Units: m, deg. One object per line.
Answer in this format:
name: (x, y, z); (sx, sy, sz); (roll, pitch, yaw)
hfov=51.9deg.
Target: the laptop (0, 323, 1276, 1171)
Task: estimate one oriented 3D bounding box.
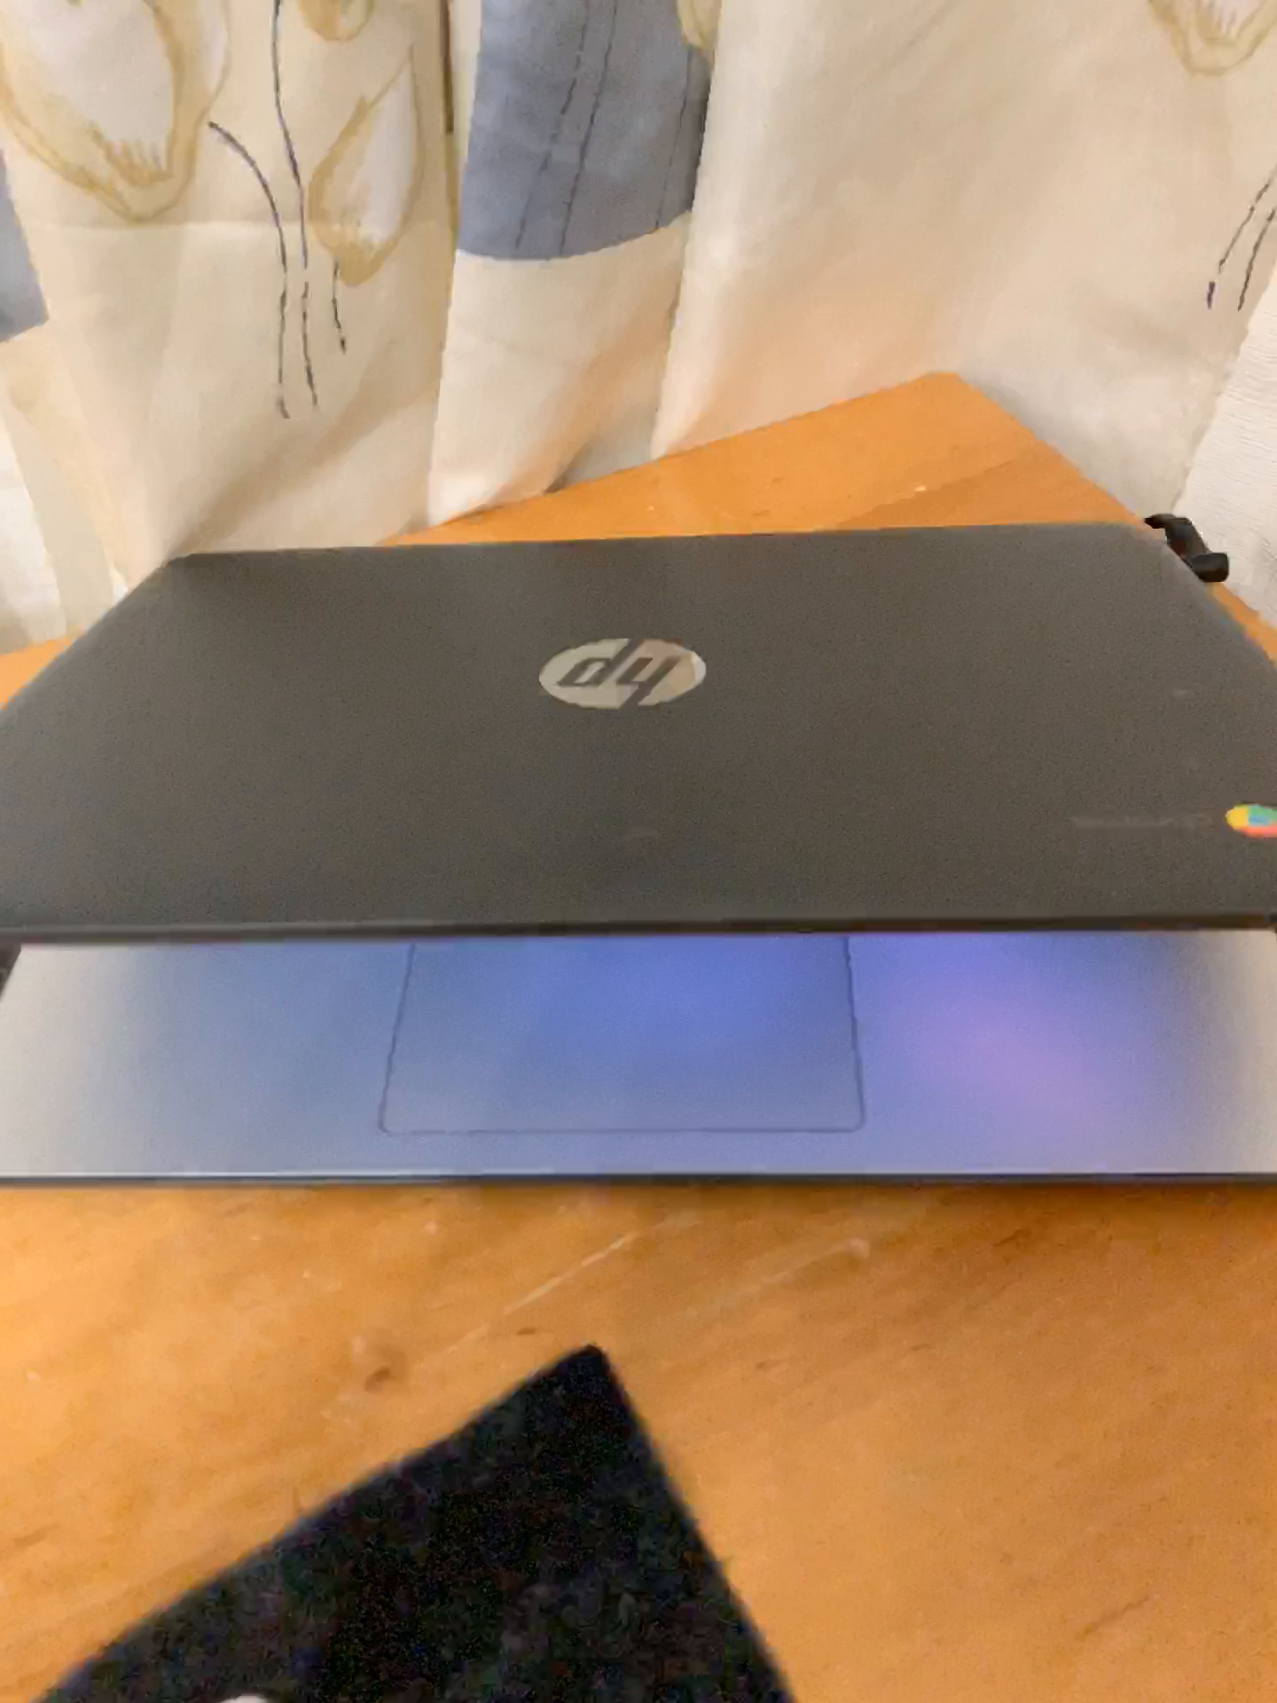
laptop: (-0.001, -0.033, 0.289); (0.268, 0.066, 0.191); (-1, 48, 3)
